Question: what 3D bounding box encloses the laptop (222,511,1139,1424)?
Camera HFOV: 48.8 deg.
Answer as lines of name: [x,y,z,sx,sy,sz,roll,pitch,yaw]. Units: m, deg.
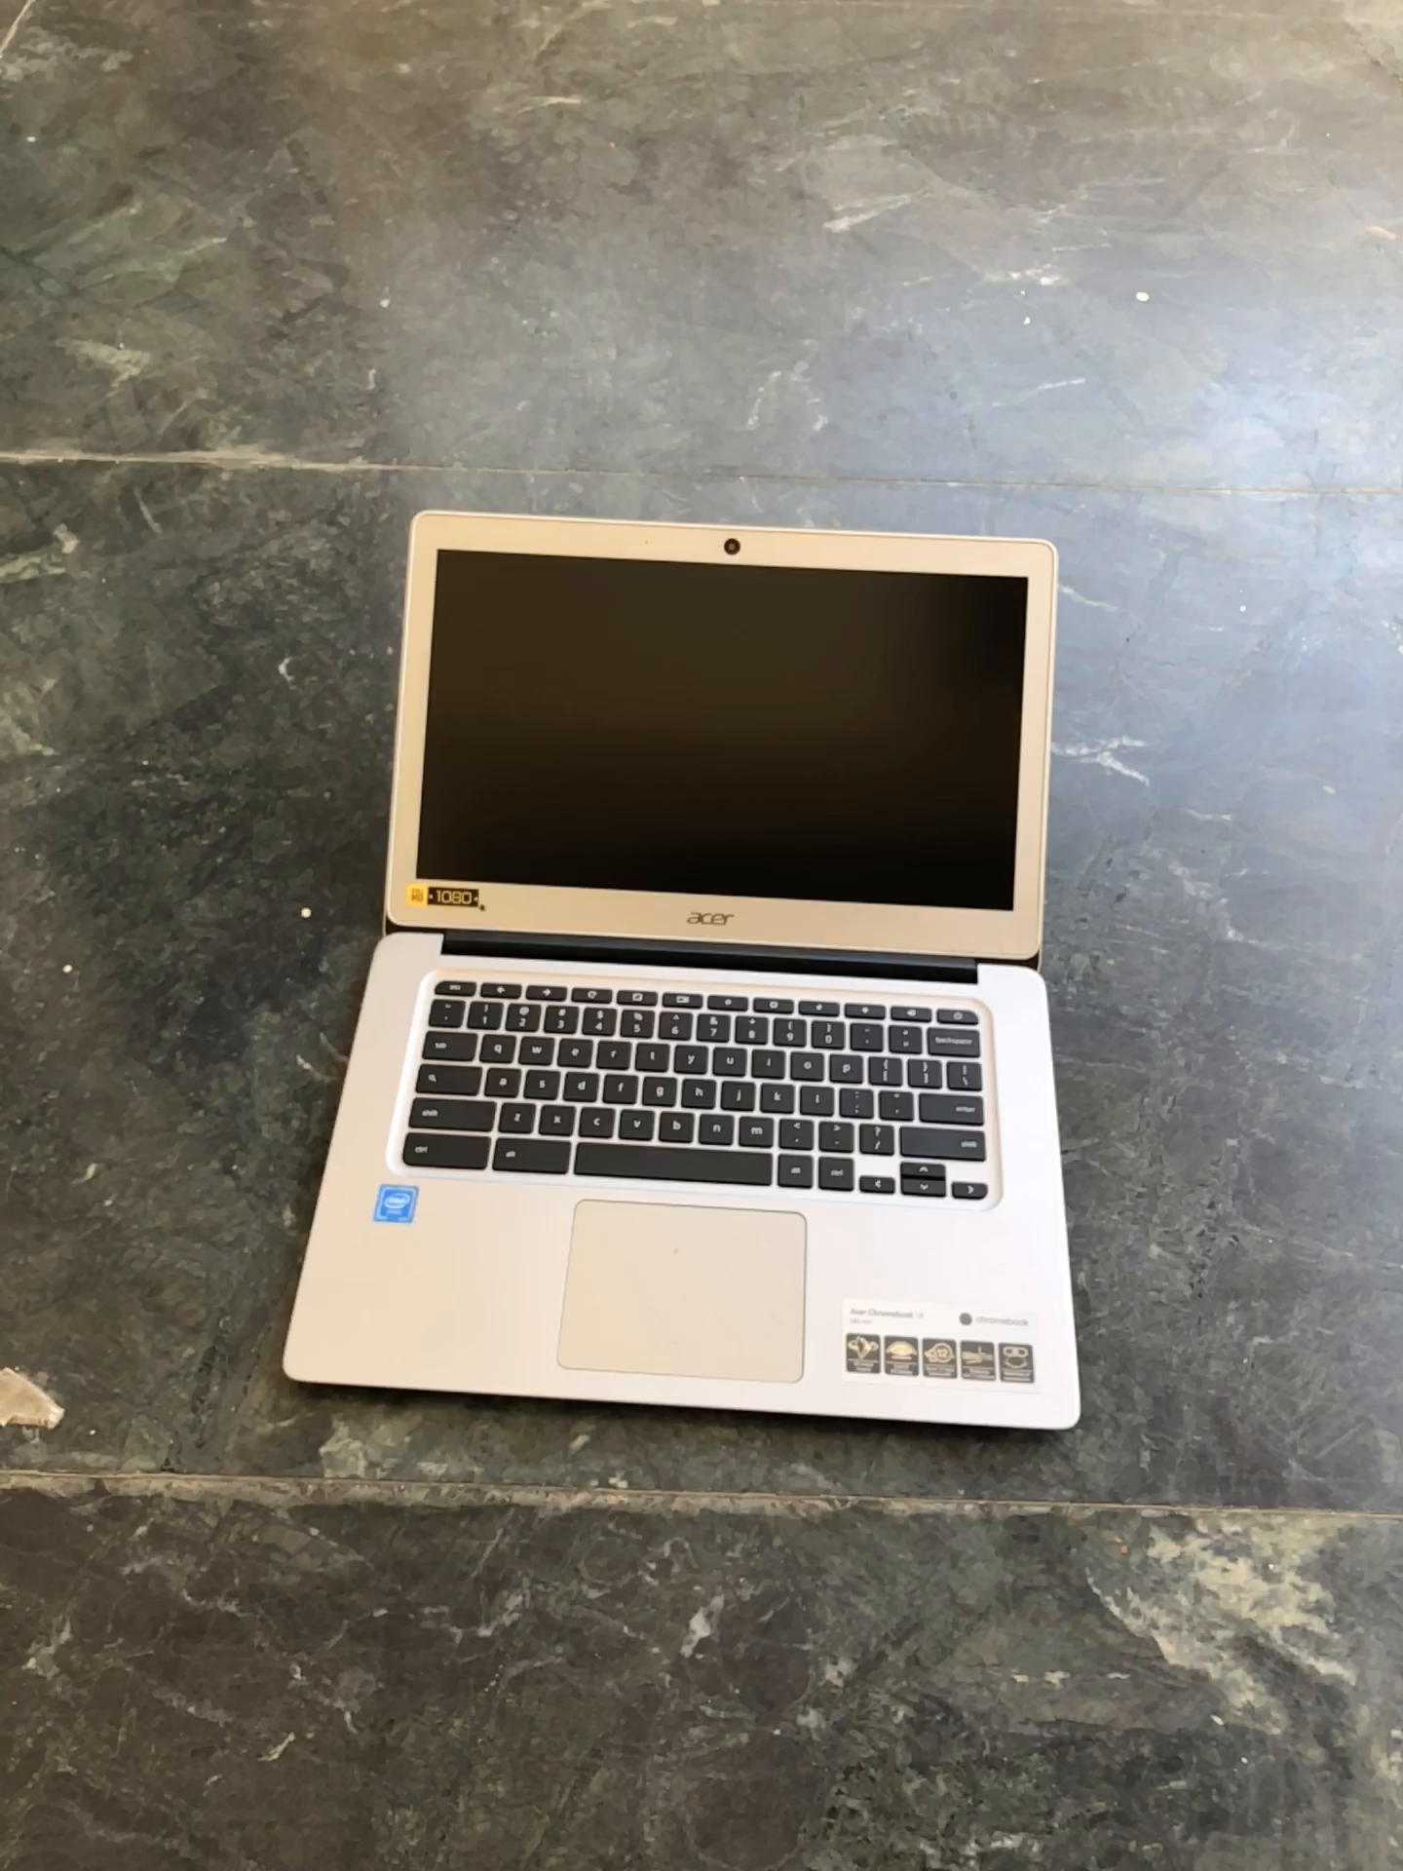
laptop: [0.003,-0.009,0.738,0.338,0.117,0.426,3,55,1]
